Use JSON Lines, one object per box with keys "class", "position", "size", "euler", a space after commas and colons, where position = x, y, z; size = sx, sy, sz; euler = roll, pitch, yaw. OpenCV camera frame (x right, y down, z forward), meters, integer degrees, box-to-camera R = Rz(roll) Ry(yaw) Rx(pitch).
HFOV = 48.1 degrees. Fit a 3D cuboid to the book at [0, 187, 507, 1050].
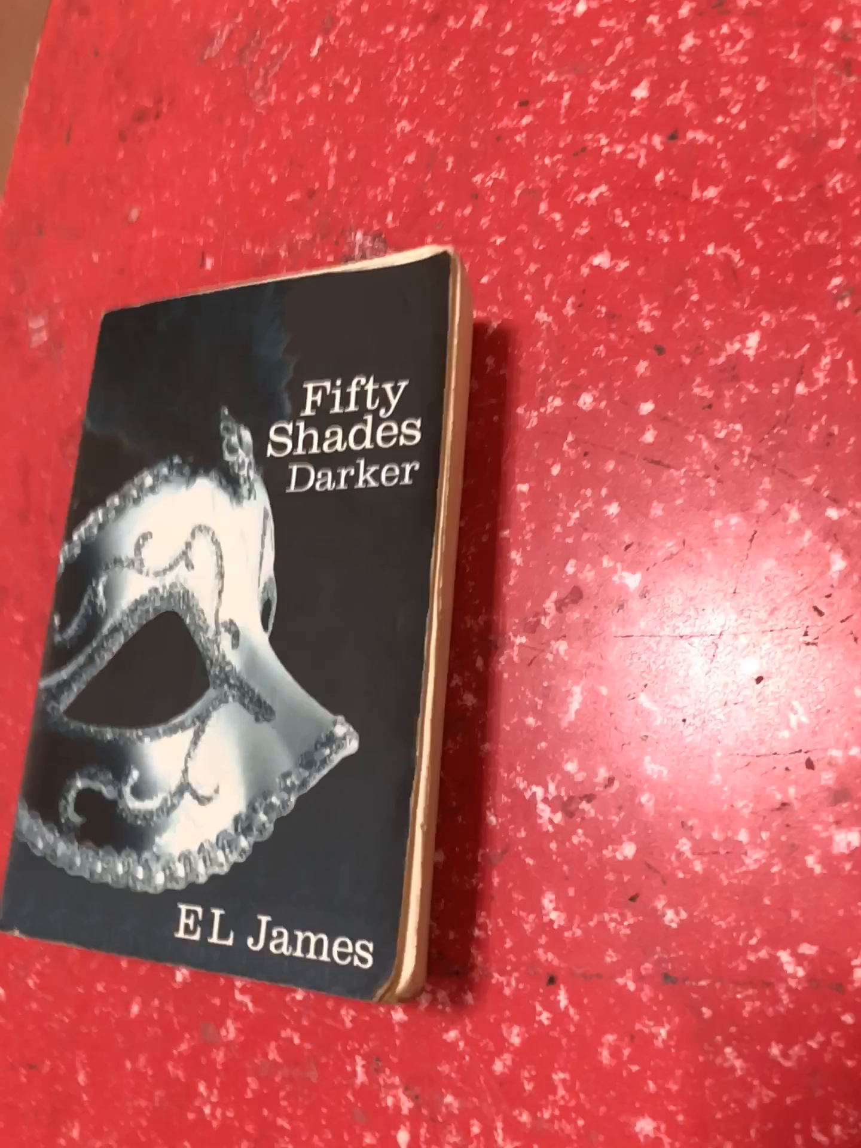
{"class": "book", "position": [-0.058, 0.008, 0.282], "size": [0.141, 0.050, 0.210], "euler": [-2, 75, 25]}
